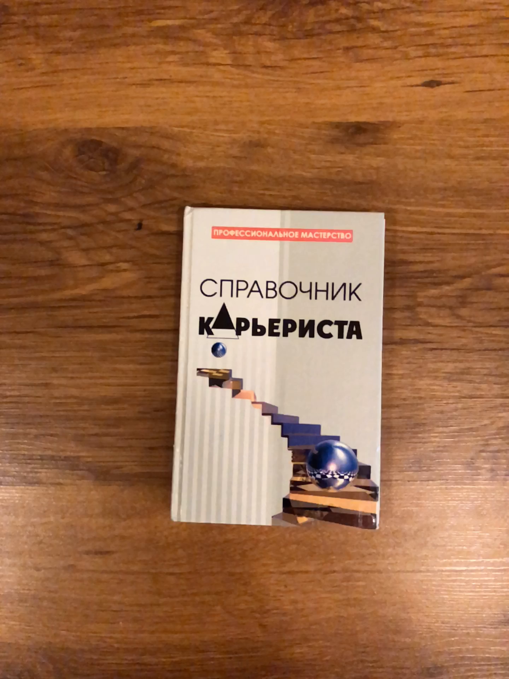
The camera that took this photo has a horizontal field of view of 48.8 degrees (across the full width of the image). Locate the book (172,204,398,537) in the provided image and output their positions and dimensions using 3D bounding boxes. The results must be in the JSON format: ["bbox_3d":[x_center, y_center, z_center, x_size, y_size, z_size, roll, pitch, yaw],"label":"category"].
[{"bbox_3d":[0.020,0.017,0.365,0.136,0.026,0.204,2,86,2],"label":"book"}]
